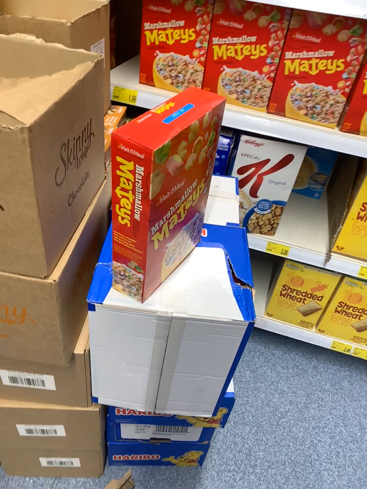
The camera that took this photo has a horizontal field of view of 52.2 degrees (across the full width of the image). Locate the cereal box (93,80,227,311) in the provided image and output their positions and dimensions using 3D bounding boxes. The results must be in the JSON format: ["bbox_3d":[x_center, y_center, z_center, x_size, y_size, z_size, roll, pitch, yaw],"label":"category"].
[{"bbox_3d":[-0.036,-0.065,0.563,0.070,0.287,0.191,27,46,18],"label":"cereal box"}]
